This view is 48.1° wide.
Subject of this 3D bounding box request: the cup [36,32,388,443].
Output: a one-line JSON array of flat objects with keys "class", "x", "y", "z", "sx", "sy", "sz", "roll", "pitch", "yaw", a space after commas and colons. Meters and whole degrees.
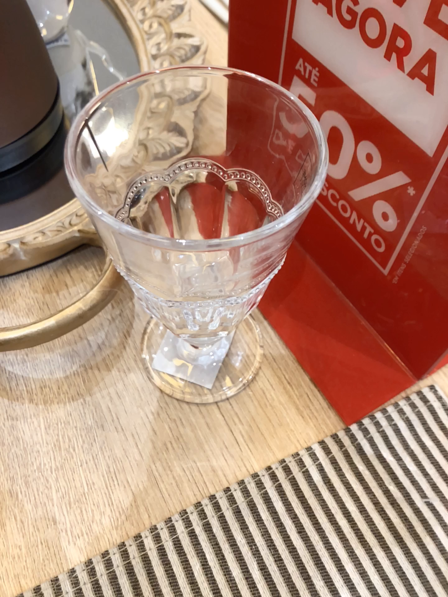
[{"class": "cup", "x": -0.008, "y": -0.013, "z": 0.208, "sx": 0.080, "sy": 0.139, "sz": 0.080, "roll": 0, "pitch": 58, "yaw": -1}]
